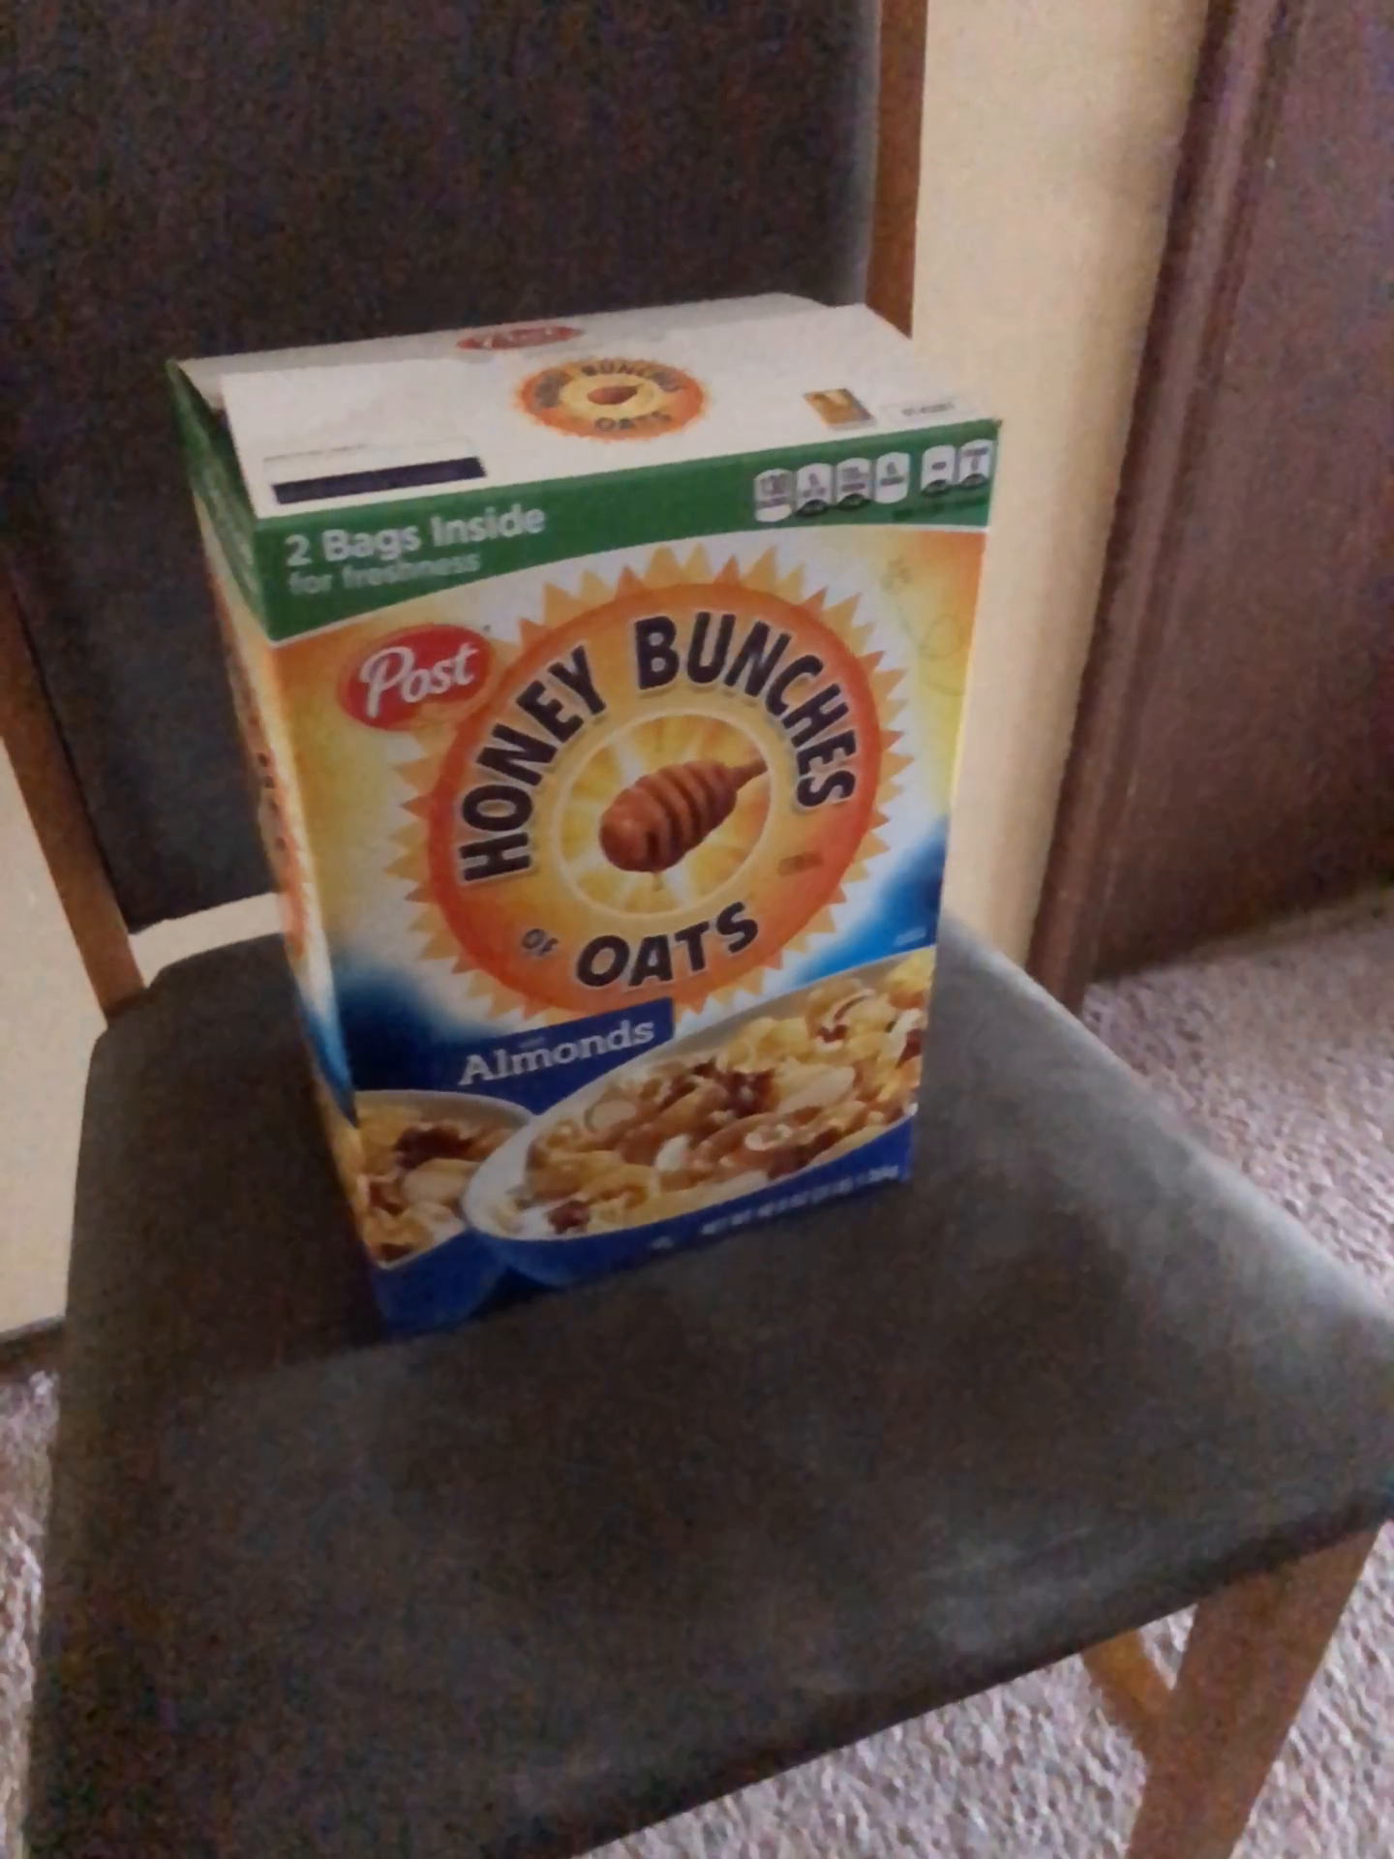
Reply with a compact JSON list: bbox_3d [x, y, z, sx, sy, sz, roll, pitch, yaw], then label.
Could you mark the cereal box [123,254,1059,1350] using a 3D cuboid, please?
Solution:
[{"bbox_3d":[-0.036,-0.047,0.509,0.220,0.279,0.160,-14,37,-17],"label":"cereal box"}]
